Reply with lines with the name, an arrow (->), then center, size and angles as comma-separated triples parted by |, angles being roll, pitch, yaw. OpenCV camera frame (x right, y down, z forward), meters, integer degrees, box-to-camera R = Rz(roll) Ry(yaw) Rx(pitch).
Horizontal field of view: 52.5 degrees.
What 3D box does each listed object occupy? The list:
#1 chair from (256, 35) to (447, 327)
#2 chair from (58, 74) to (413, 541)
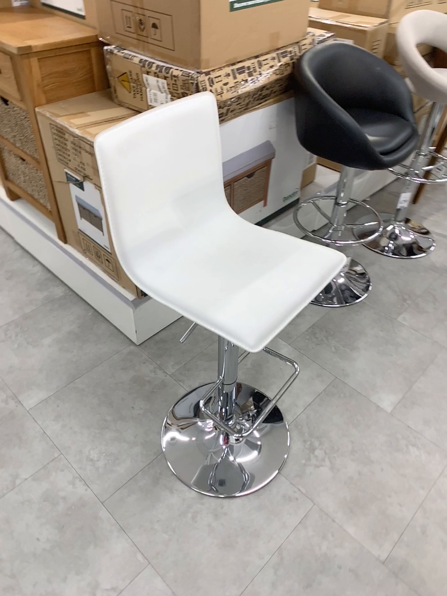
chair -> 0.480, -0.441, 1.774 | 0.444, 0.910, 0.471 | 31, 49, 29
chair -> 0.022, 0.069, 1.129 | 0.443, 0.990, 0.461 | 28, 48, 27
